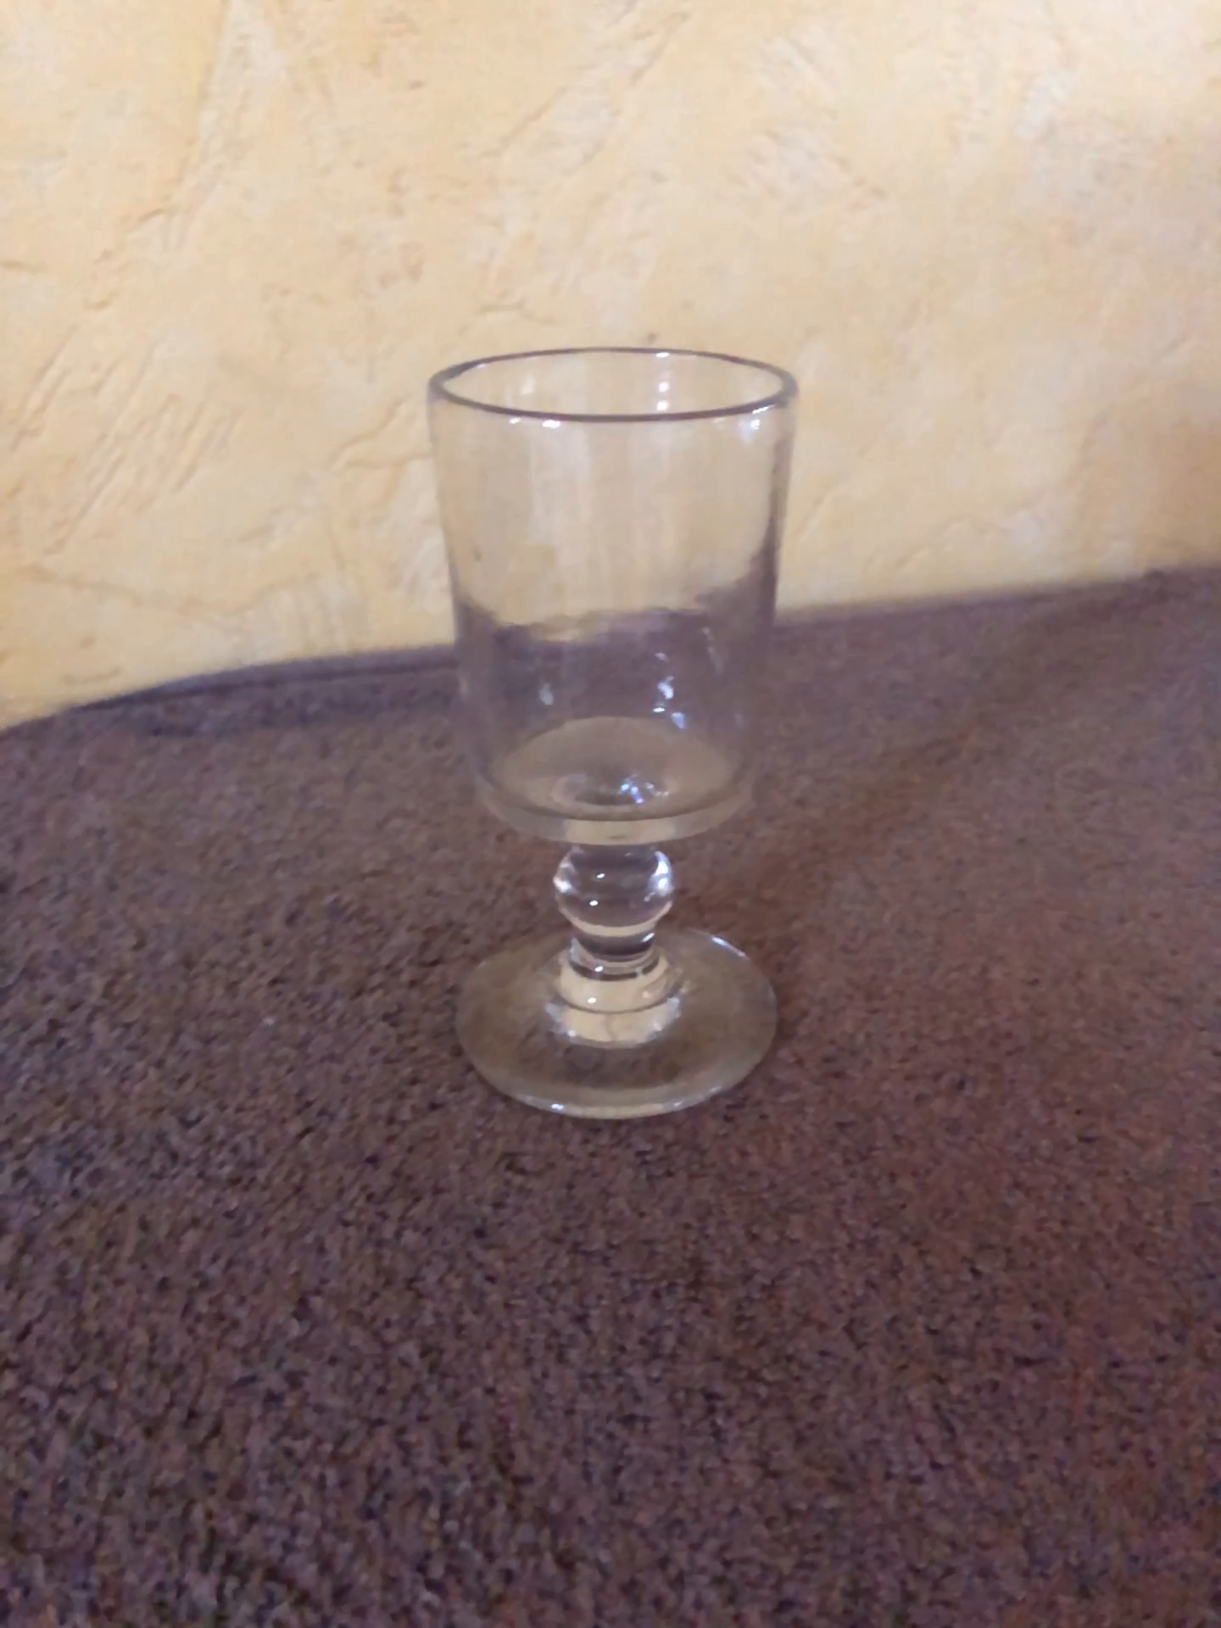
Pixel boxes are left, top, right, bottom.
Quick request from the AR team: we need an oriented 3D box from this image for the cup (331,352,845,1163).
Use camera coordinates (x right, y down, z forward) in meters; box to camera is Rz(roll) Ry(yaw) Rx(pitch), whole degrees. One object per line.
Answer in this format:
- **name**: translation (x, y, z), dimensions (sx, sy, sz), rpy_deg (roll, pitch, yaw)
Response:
- **cup**: translation (-0.003, -0.009, 0.211), dimensions (0.060, 0.109, 0.060), rpy_deg (0, 28, 0)
